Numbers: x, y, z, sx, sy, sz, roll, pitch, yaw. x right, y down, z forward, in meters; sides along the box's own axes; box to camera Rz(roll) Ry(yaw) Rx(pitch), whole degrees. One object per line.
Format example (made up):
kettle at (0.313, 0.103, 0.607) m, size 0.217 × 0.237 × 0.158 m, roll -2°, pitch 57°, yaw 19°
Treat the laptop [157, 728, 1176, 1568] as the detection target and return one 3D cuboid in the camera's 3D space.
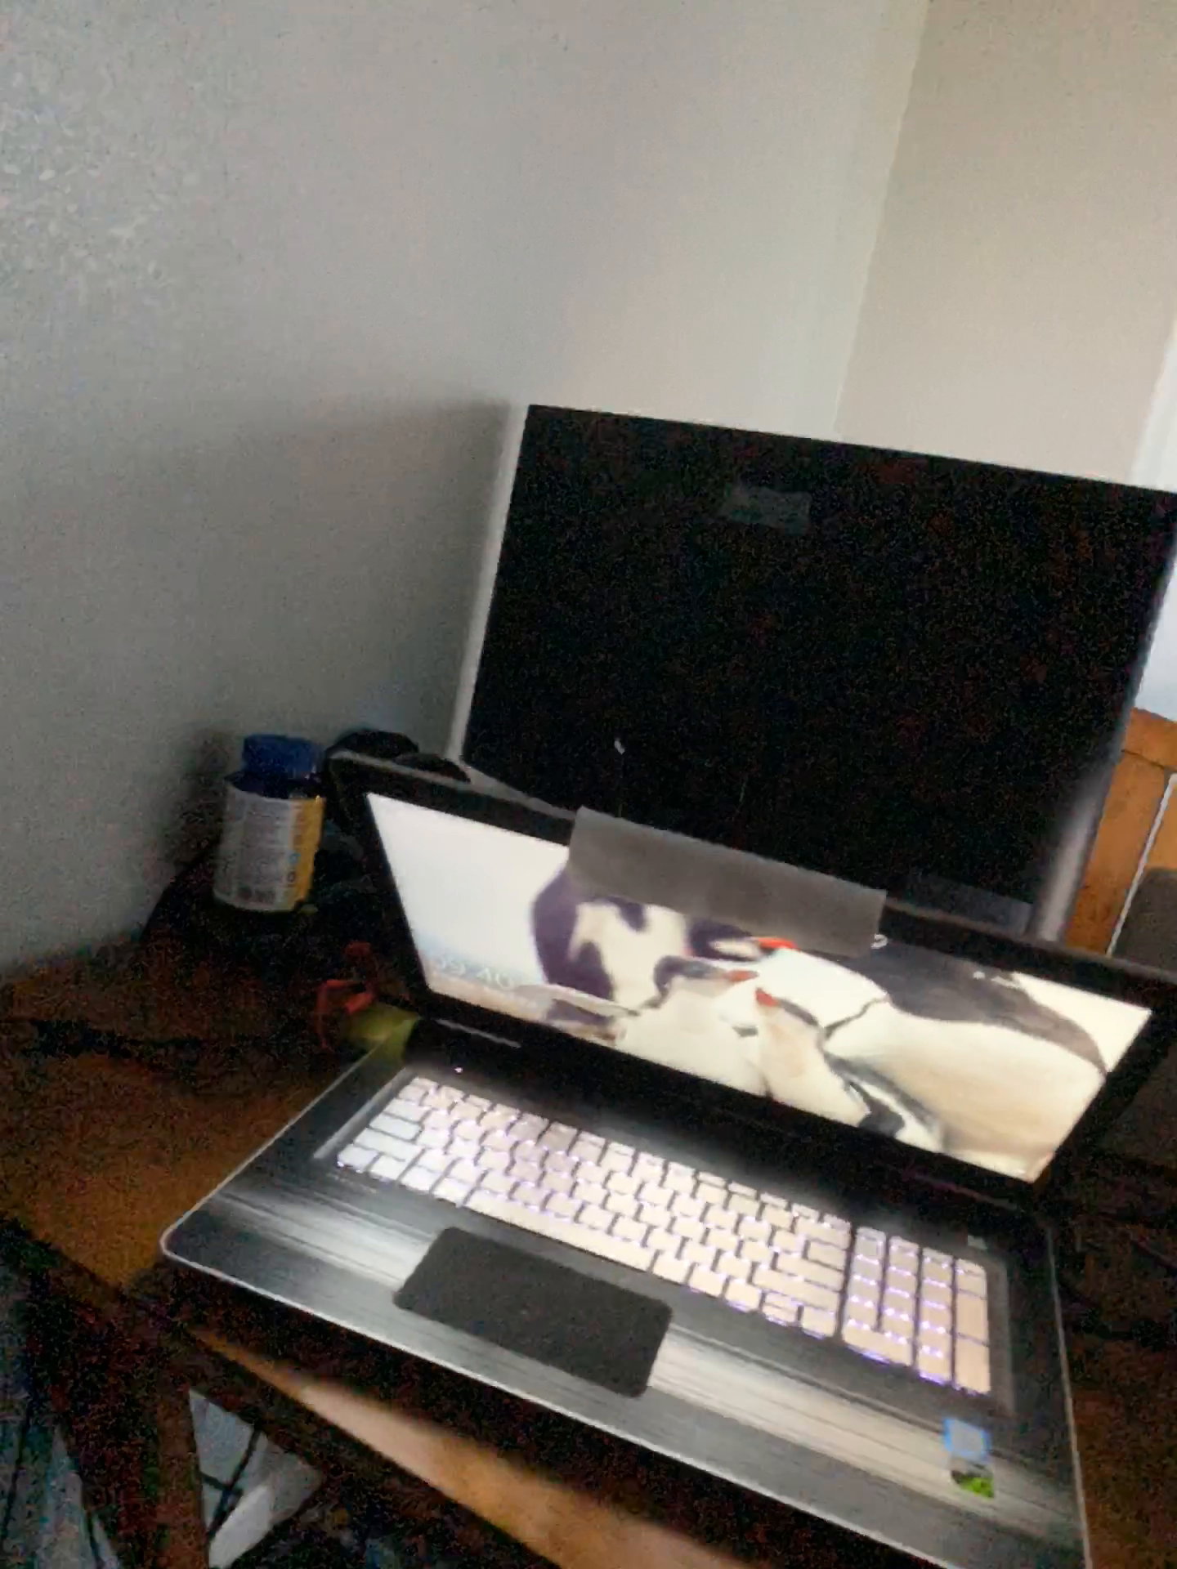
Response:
laptop at (0.052, 0.131, 0.580) m, size 0.393 × 0.187 × 0.258 m, roll 14°, pitch 15°, yaw 13°
